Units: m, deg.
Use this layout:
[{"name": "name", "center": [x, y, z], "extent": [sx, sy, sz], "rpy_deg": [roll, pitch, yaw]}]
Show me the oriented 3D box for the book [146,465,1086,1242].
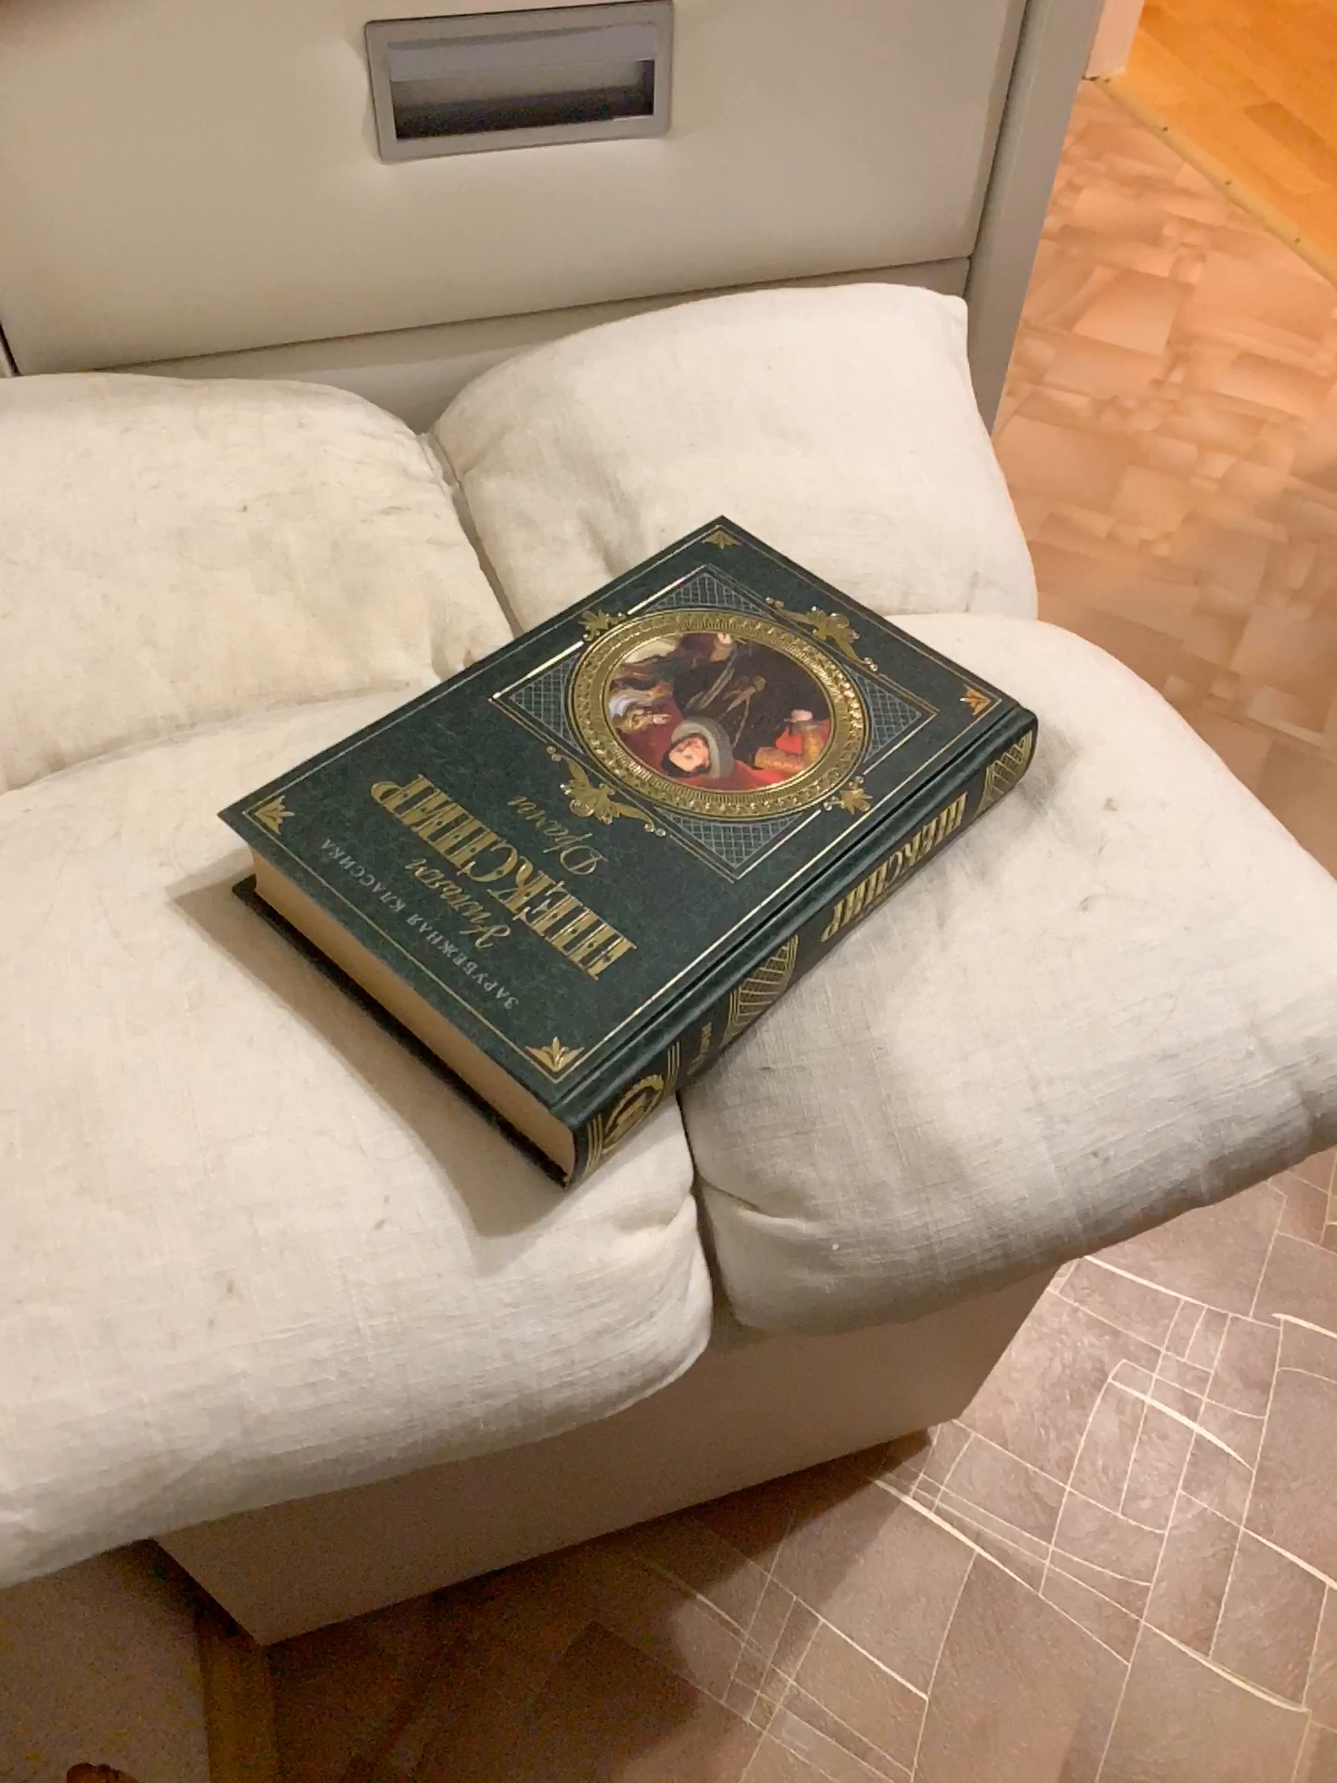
[{"name": "book", "center": [-0.006, -0.031, 0.393], "extent": [0.150, 0.040, 0.221], "rpy_deg": [37, 55, 21]}]
